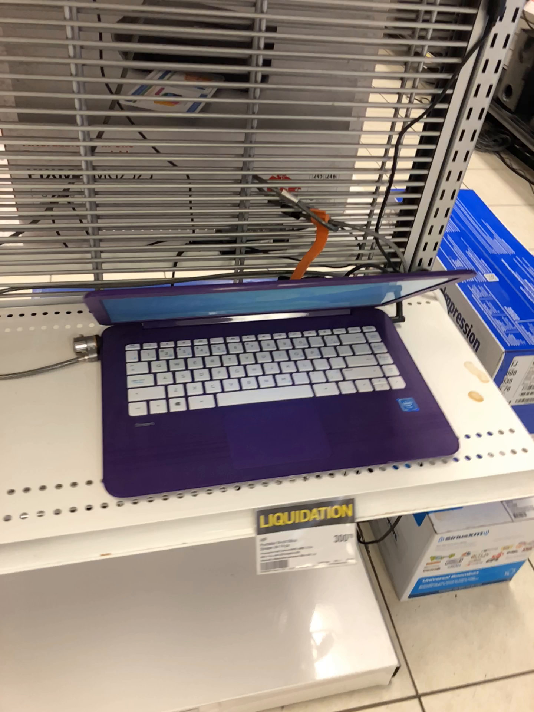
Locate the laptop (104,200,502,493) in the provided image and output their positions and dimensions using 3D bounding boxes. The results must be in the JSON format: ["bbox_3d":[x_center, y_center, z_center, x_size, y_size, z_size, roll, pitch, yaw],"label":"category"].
[{"bbox_3d":[0.012,-0.023,0.546,0.305,0.138,0.207,-5,46,-12],"label":"laptop"}]
